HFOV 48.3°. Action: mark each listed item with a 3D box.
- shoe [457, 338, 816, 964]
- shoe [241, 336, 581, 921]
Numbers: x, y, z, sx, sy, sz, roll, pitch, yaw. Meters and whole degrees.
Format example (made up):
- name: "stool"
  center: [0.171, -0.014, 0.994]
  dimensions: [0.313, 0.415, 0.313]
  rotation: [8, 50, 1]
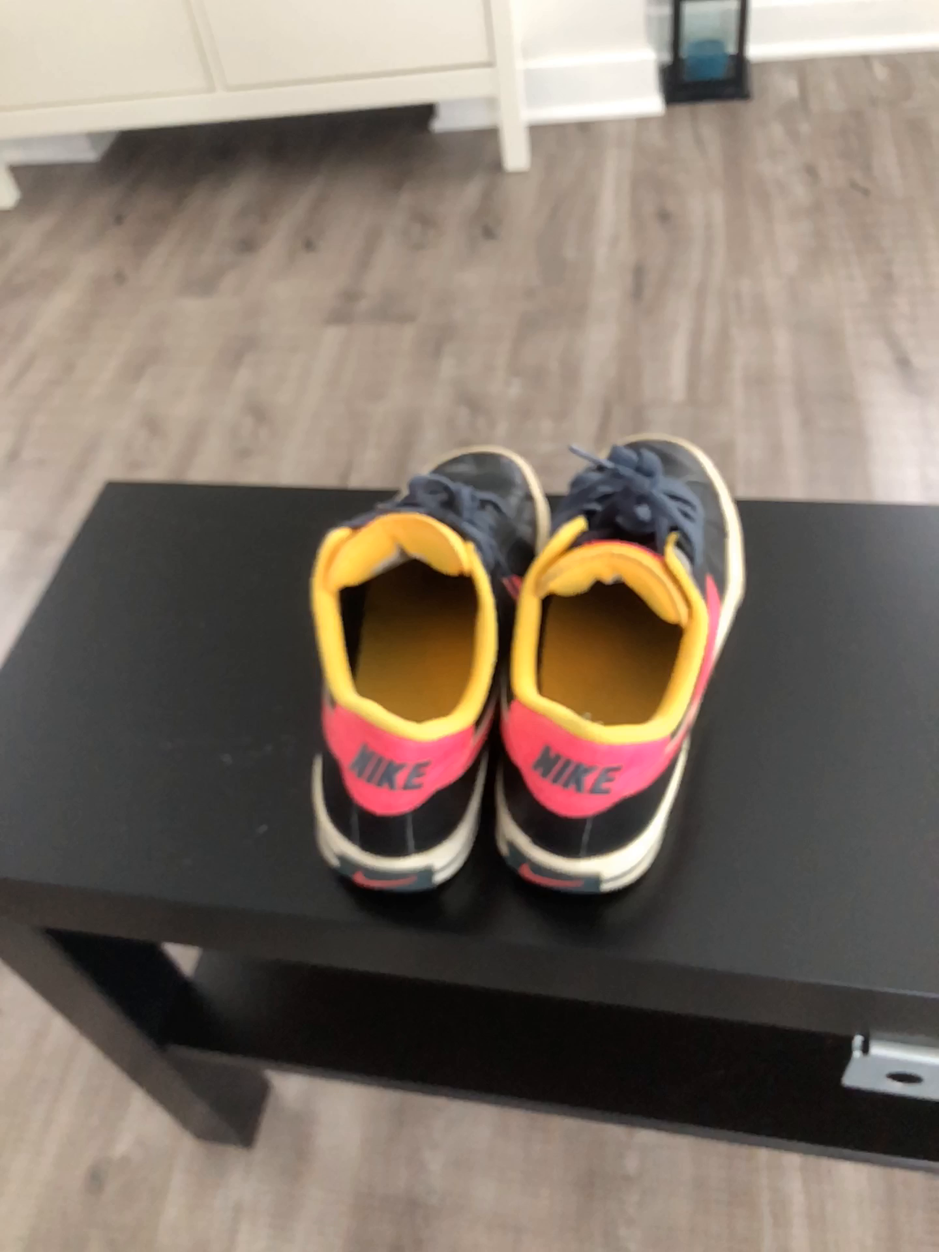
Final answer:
- name: "shoe"
  center: [0.079, -0.003, 0.445]
  dimensions: [0.095, 0.100, 0.244]
  rotation: [10, 52, 13]
- name: "shoe"
  center: [-0.009, -0.012, 0.463]
  dimensions: [0.090, 0.100, 0.245]
  rotation: [5, 51, 10]
